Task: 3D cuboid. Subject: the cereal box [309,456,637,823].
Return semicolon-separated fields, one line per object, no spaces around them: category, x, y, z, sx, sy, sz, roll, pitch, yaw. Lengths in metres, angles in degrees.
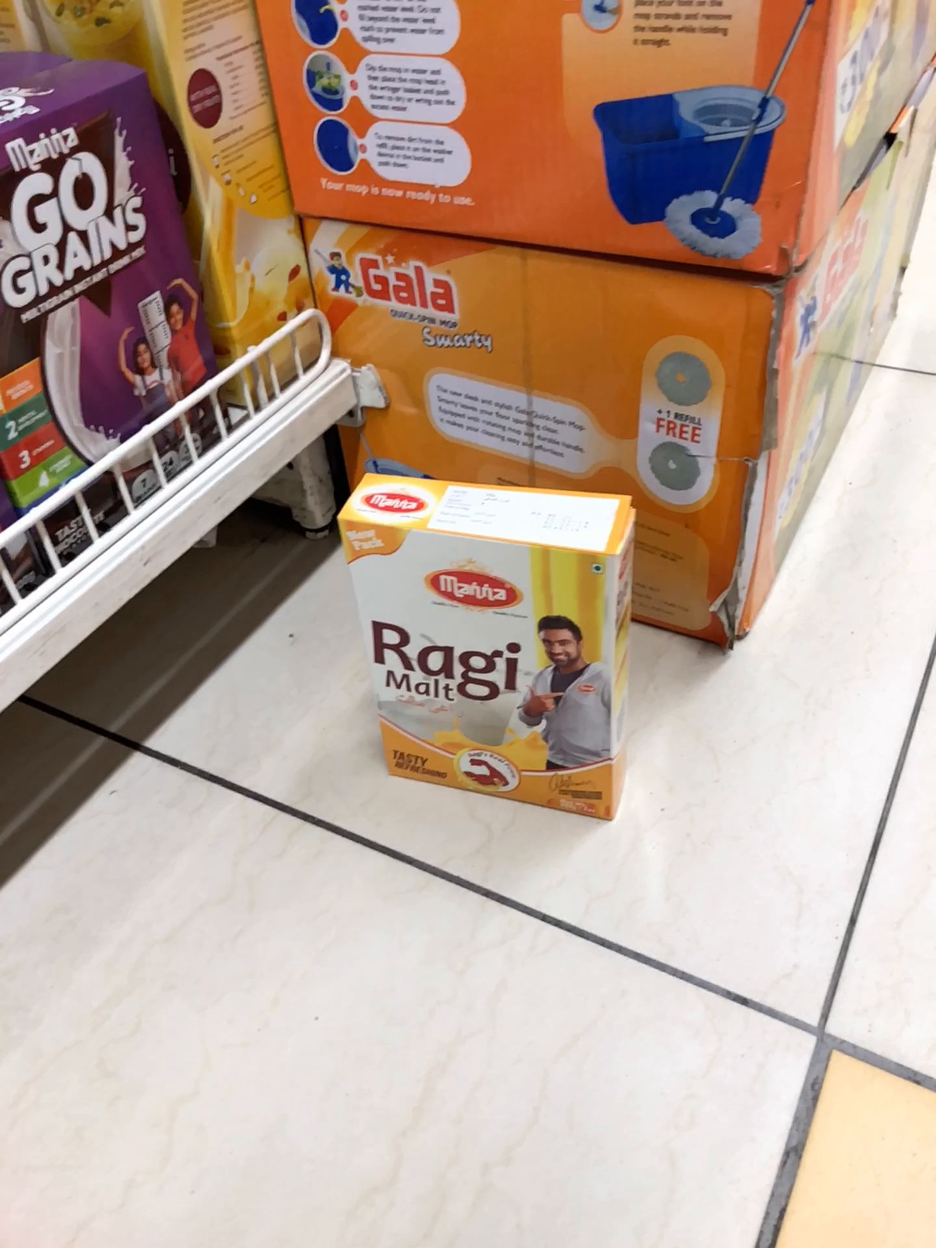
cereal box;0.009;0.012;0.525;0.140;0.179;0.050;9;44;17
